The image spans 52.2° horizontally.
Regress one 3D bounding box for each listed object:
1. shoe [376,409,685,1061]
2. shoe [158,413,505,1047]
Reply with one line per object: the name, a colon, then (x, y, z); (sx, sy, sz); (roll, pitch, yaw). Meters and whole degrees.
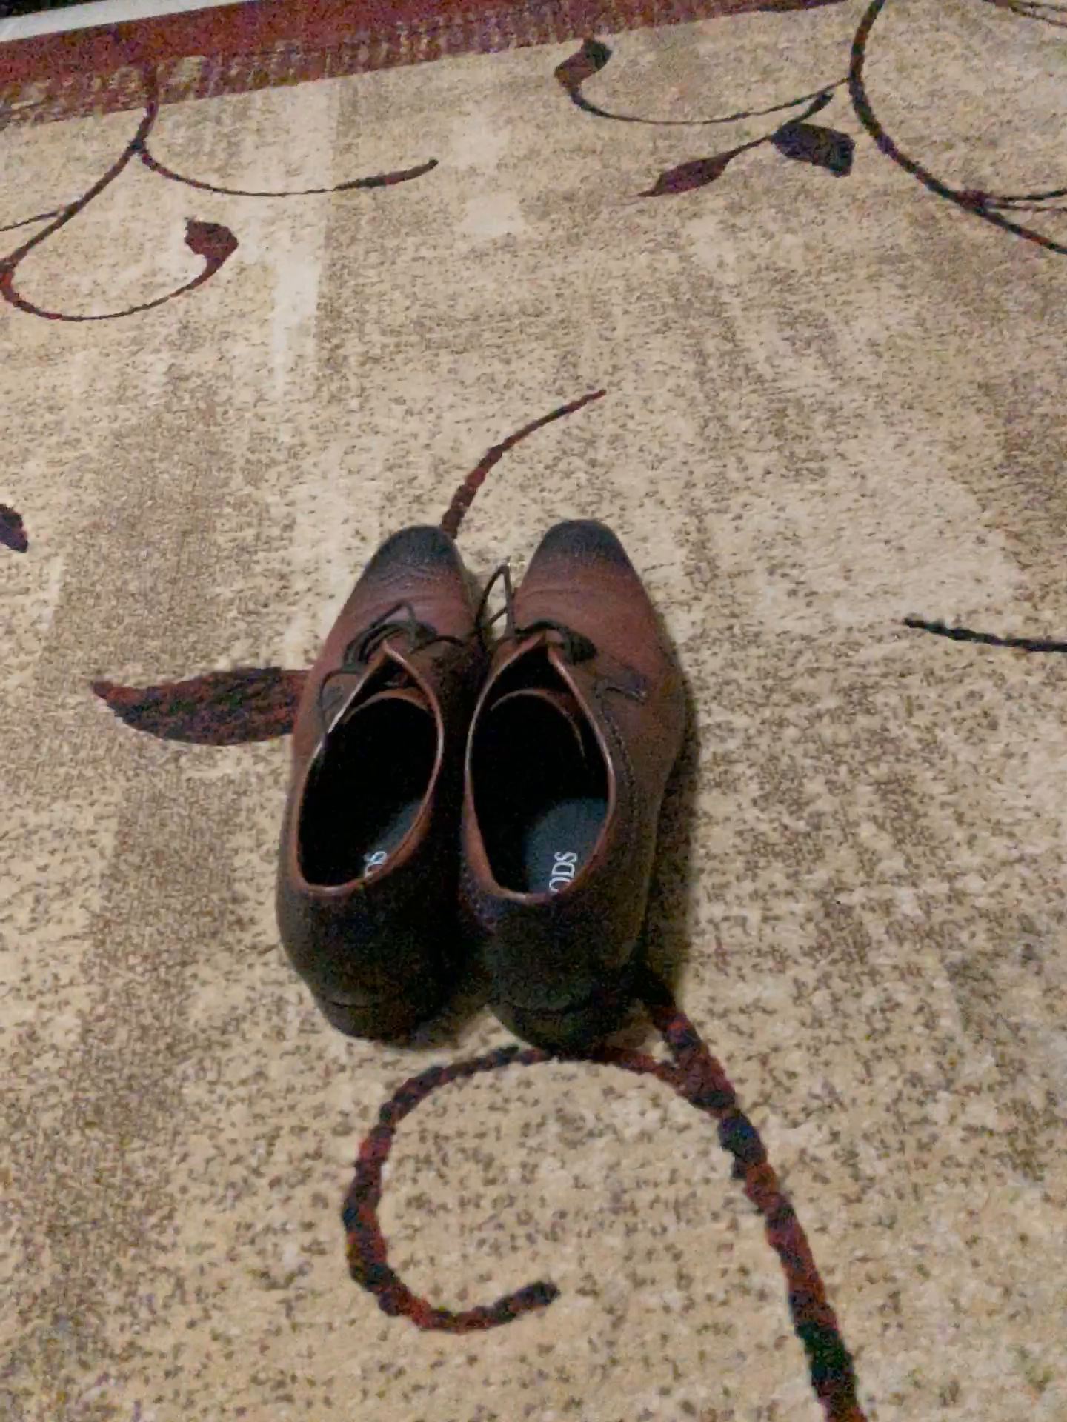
shoe: (0.016, -0.004, 0.482); (0.095, 0.115, 0.276); (0, 48, 9)
shoe: (-0.072, -0.004, 0.498); (0.095, 0.115, 0.276); (-4, 48, 5)
